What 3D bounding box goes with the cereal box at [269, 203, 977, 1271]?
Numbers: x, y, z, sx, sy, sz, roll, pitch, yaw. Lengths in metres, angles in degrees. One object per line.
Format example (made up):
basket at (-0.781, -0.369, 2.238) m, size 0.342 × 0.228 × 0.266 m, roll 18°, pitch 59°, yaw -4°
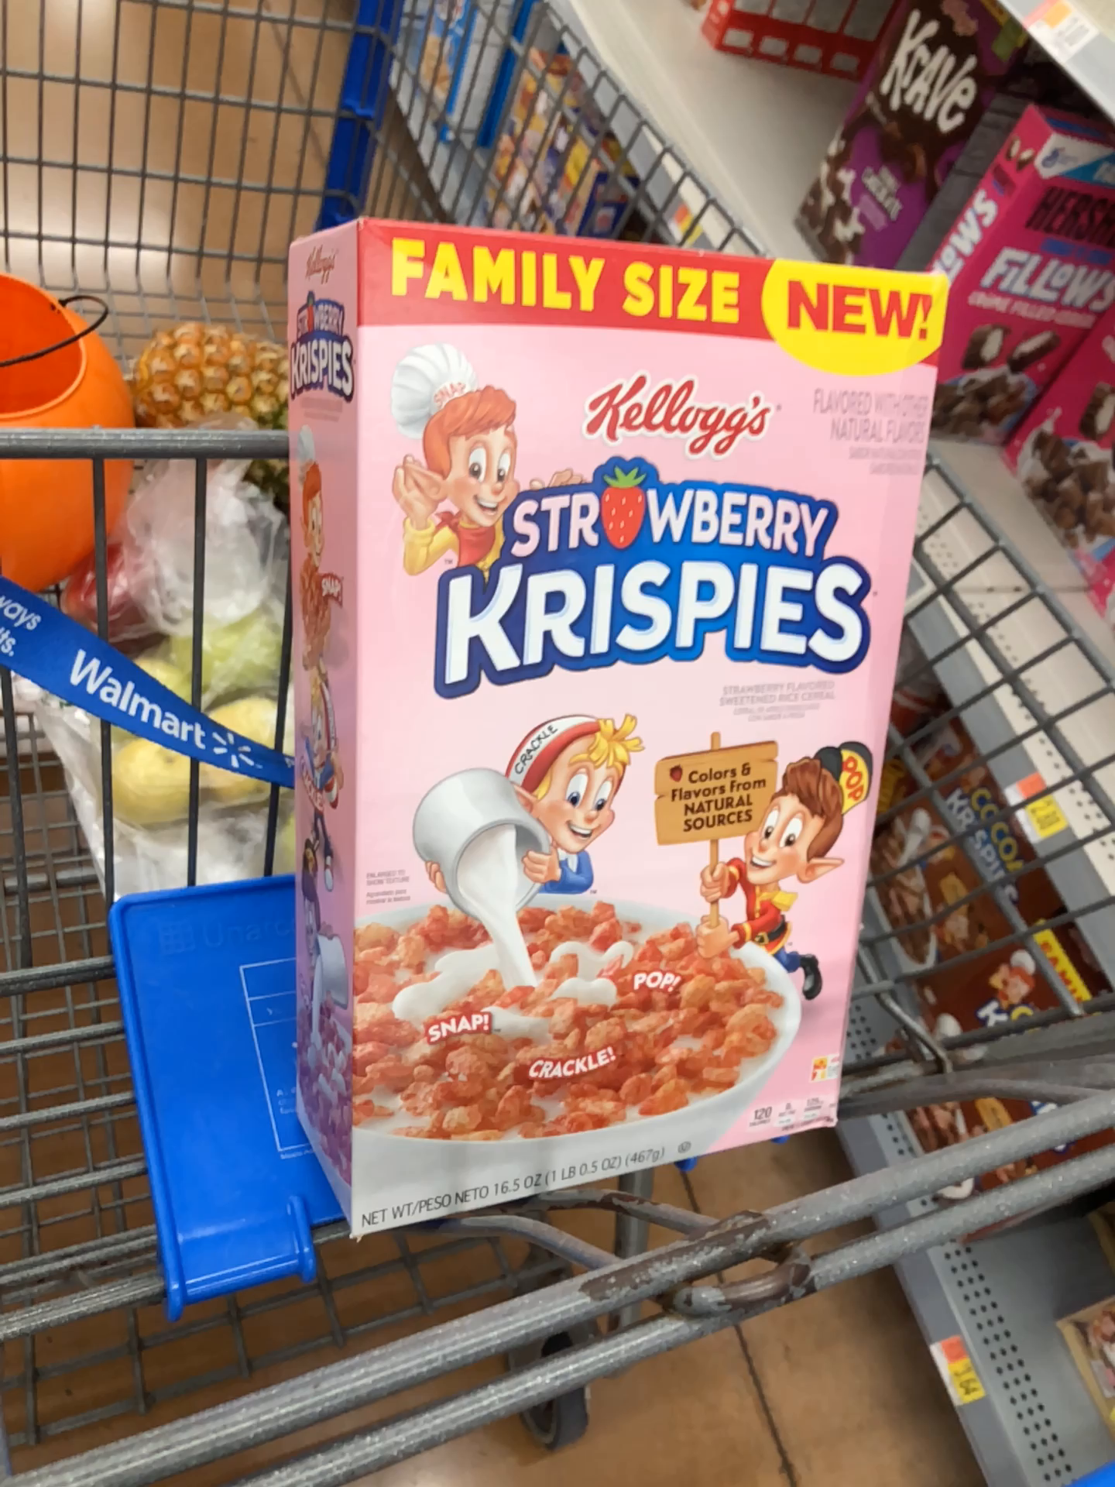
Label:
cereal box at (0.018, -0.004, 0.406) m, size 0.200 × 0.290 × 0.080 m, roll -5°, pitch 15°, yaw -27°
